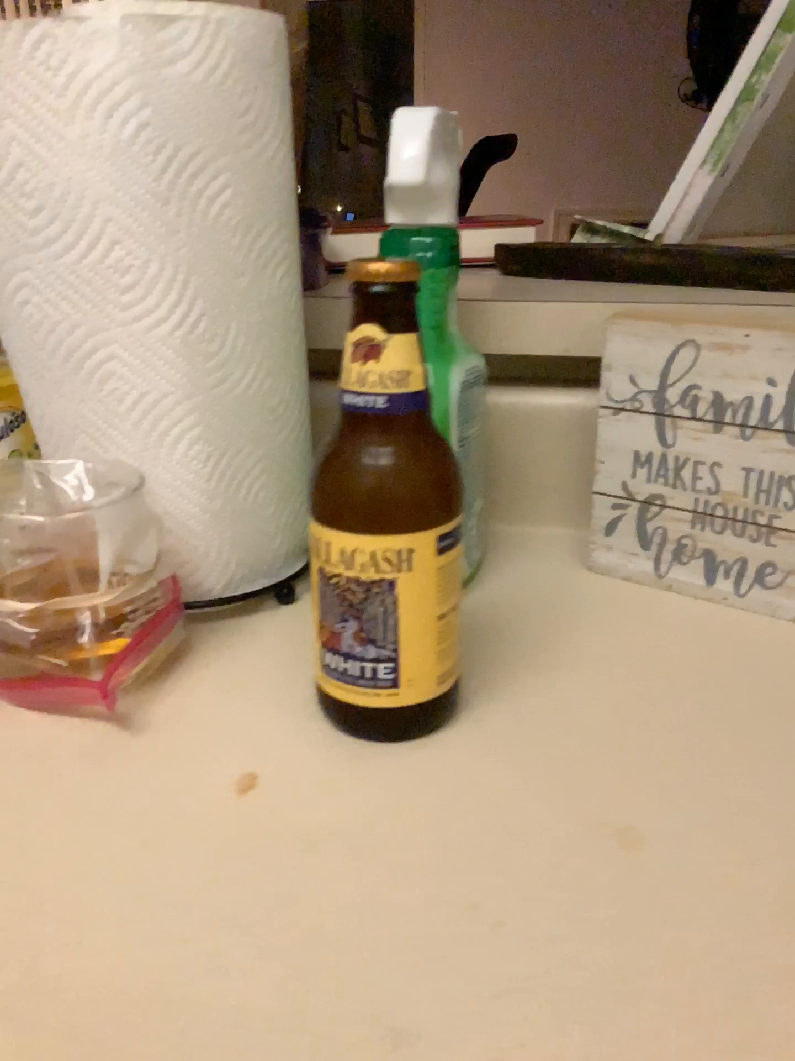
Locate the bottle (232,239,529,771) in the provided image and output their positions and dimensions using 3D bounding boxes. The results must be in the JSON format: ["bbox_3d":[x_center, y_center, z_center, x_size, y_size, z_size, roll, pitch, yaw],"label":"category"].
[{"bbox_3d":[-0.003,-0.016,0.356,0.080,0.190,0.080,0,20,0],"label":"bottle"}]
